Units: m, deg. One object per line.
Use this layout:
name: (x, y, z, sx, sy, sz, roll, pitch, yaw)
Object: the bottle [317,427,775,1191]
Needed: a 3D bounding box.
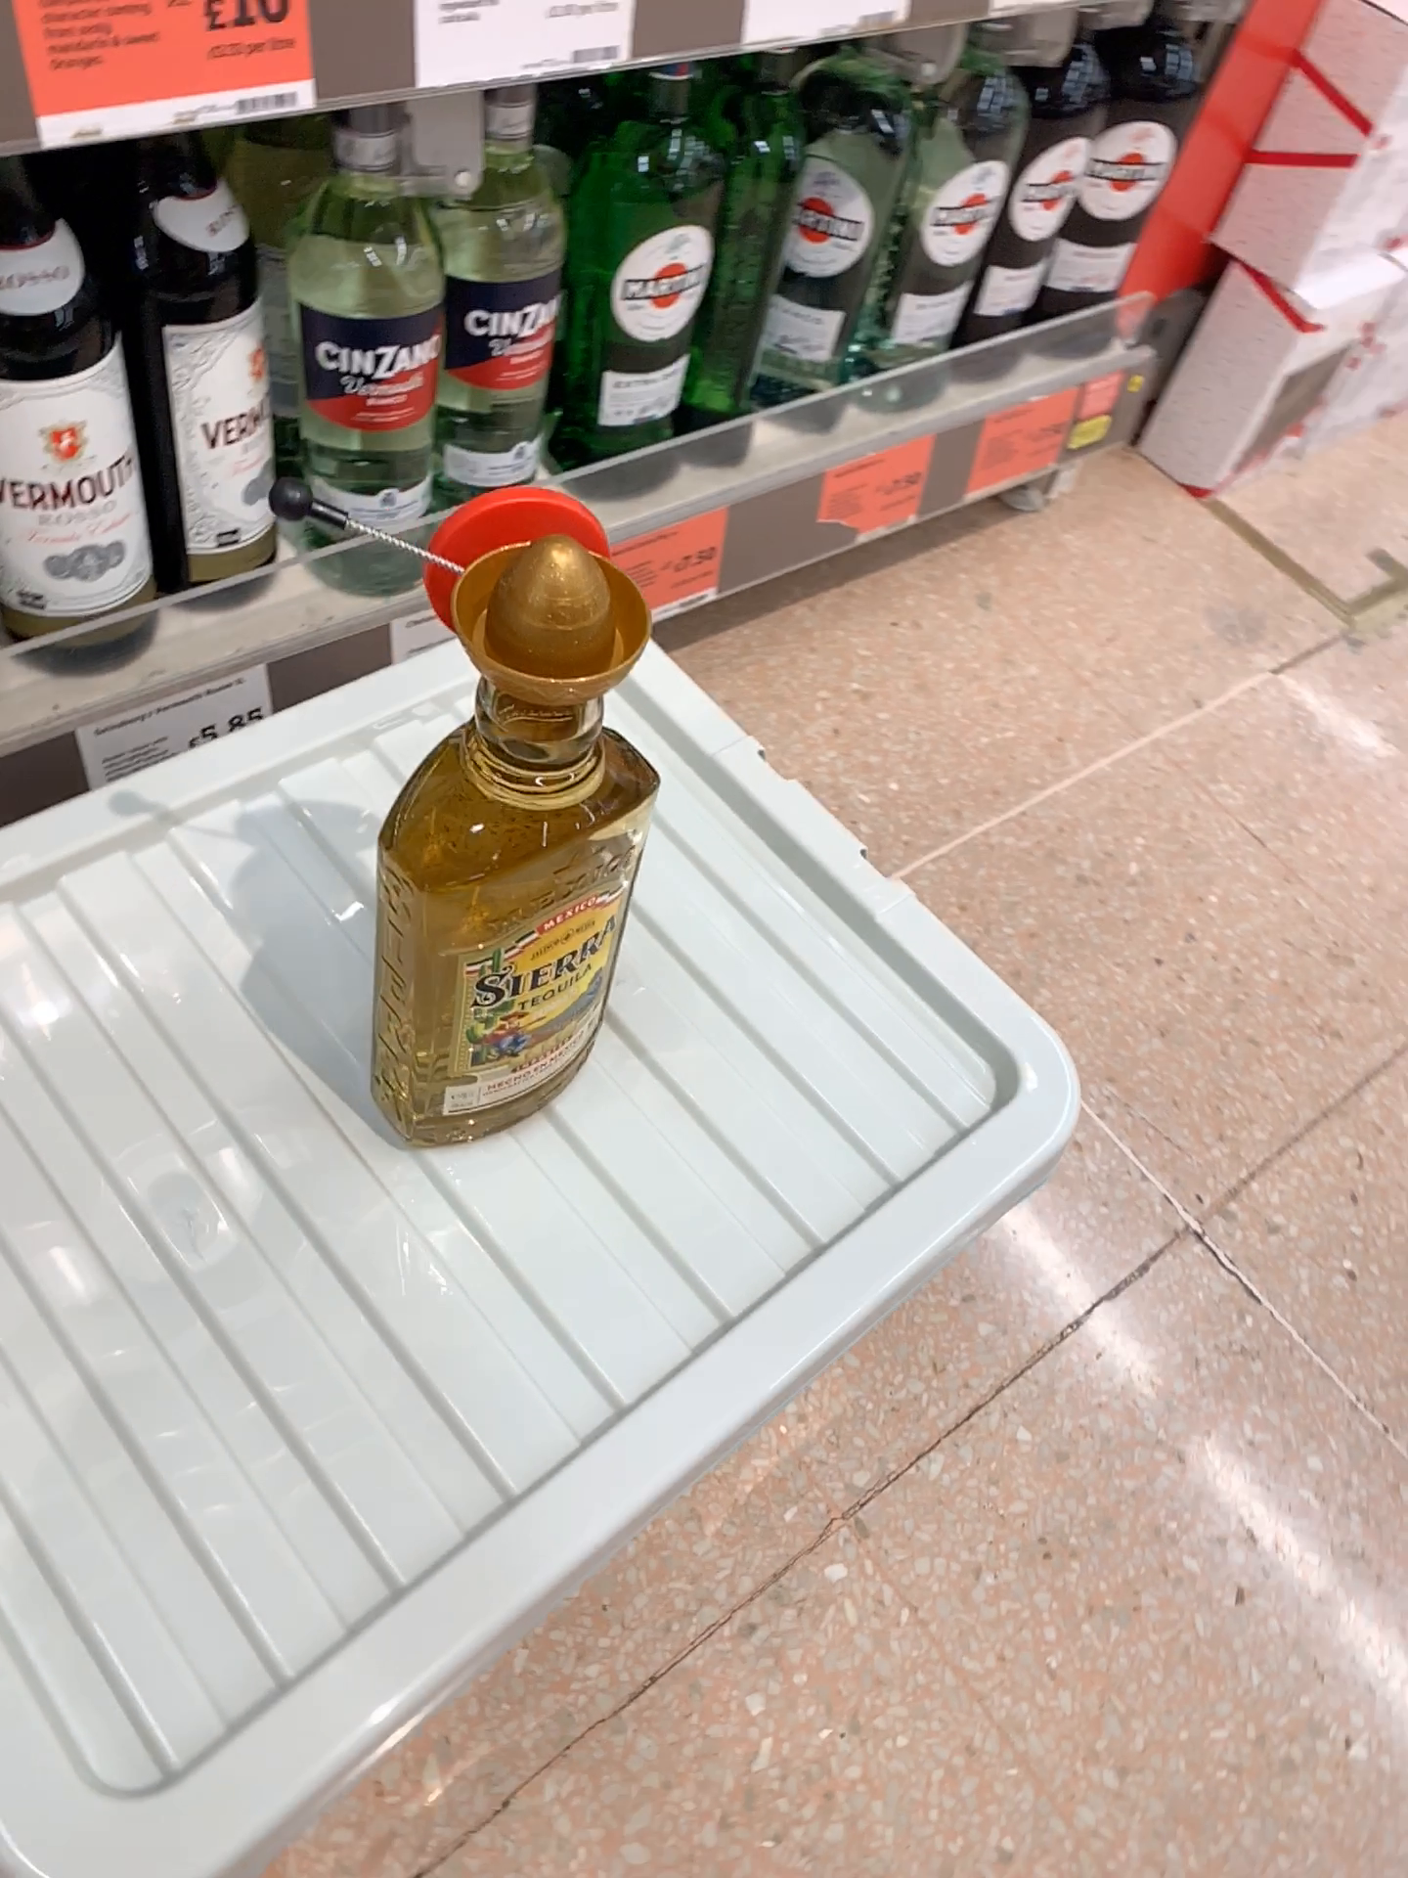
bottle: (-0.062, -0.024, 0.463, 0.100, 0.258, 0.058, -31, 67, -30)
